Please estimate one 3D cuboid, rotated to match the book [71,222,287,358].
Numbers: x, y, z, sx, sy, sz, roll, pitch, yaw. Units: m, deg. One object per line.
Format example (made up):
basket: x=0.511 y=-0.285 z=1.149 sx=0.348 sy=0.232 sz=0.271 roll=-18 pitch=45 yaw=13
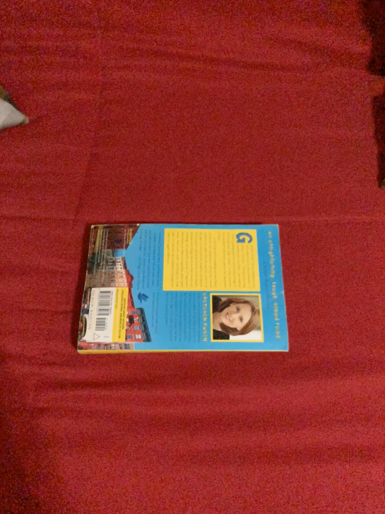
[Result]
book: x=-0.012 y=0.032 z=0.410 sx=0.202 sy=0.033 sz=0.133 roll=1 pitch=68 yaw=0
